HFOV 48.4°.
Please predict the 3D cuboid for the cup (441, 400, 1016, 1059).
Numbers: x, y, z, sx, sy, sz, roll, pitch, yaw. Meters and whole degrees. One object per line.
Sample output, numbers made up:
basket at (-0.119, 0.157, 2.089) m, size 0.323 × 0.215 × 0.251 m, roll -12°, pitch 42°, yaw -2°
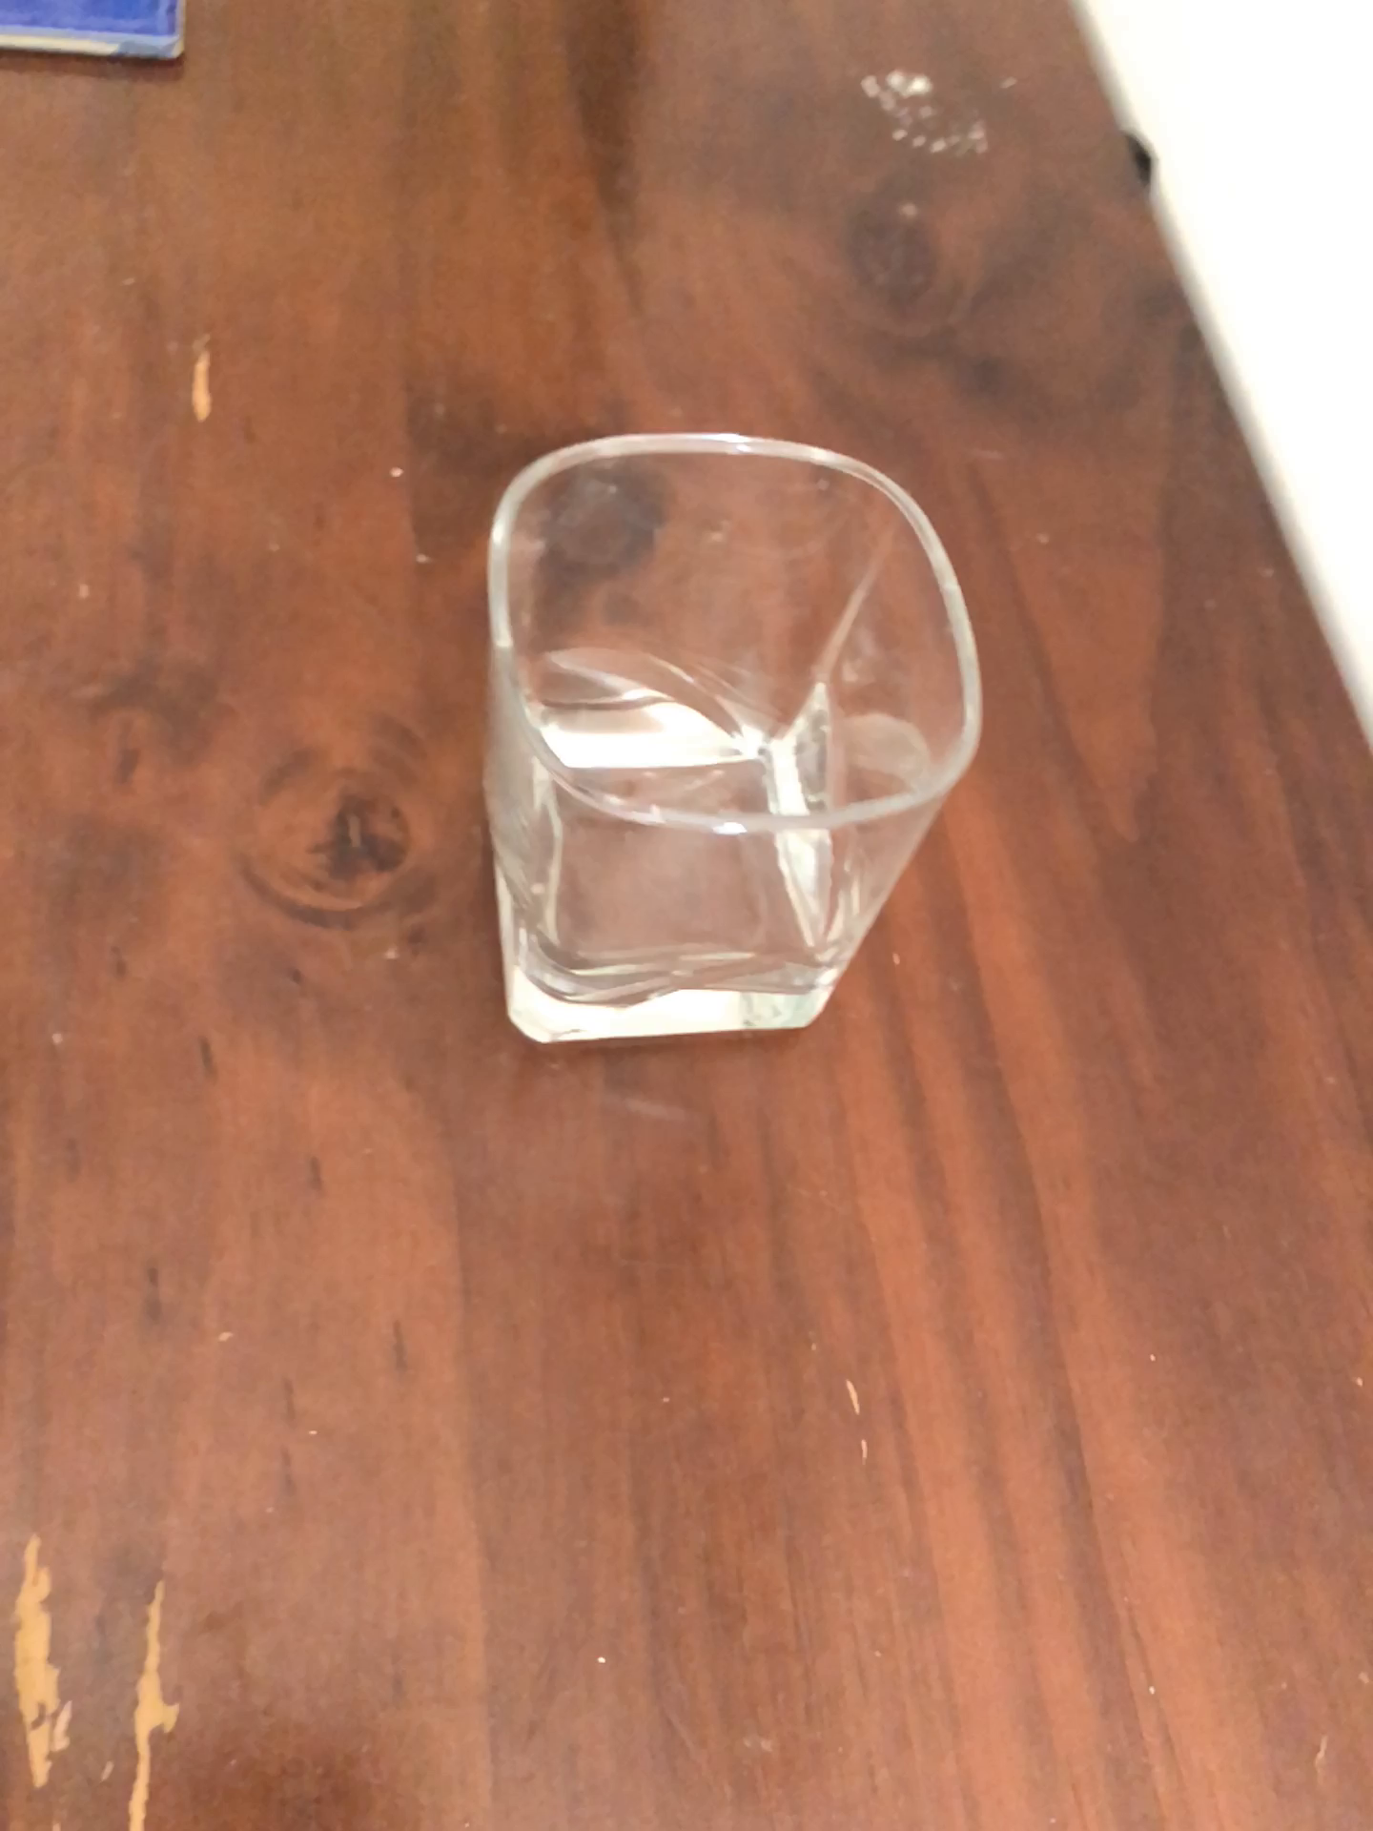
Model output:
cup at (-0.001, -0.029, 0.273) m, size 0.076 × 0.087 × 0.078 m, roll 5°, pitch 61°, yaw -10°
